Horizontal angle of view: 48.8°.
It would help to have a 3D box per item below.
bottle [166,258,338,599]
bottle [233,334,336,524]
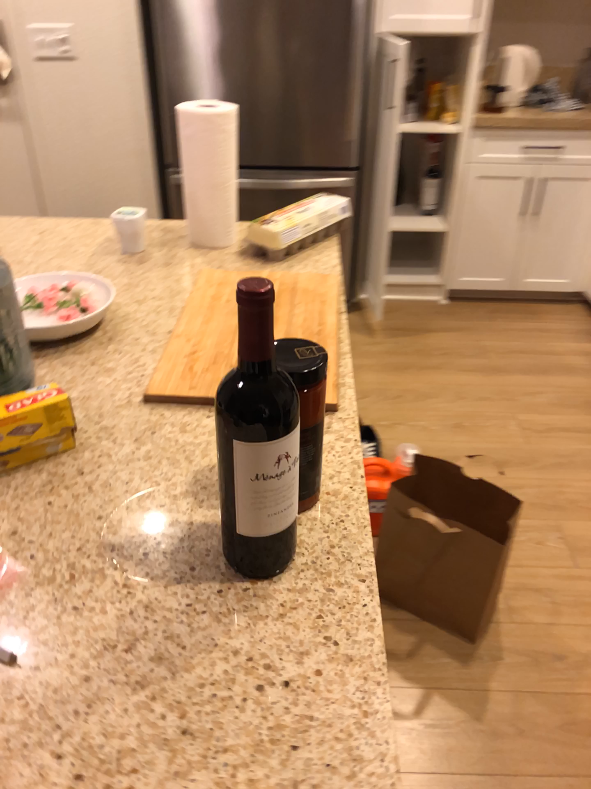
[{"bbox_3d":[-0.040,0.035,0.593,0.110,0.278,0.111,1,32,0],"label":"bottle"},{"bbox_3d":[-0.014,0.038,0.713,0.090,0.179,0.090,1,32,0],"label":"bottle"}]
